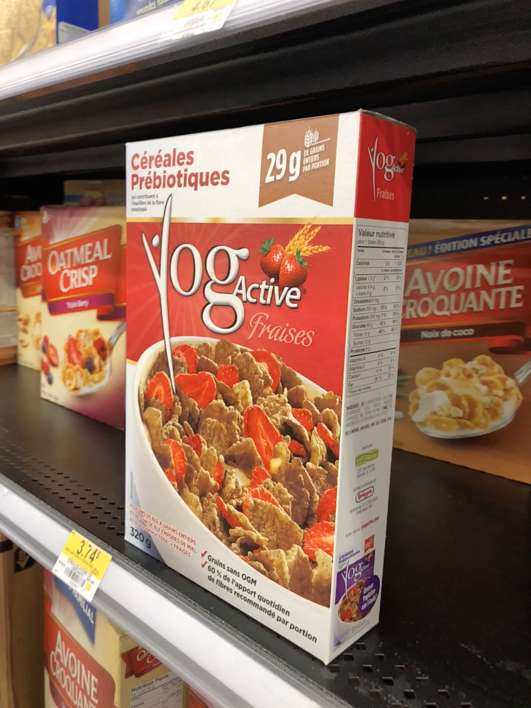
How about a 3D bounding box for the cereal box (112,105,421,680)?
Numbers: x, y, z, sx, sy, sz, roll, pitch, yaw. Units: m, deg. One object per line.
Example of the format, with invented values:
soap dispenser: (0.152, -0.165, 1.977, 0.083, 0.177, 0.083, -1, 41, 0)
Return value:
cereal box: (-0.017, 0.012, 0.372, 0.200, 0.289, 0.050, 11, 14, 41)
